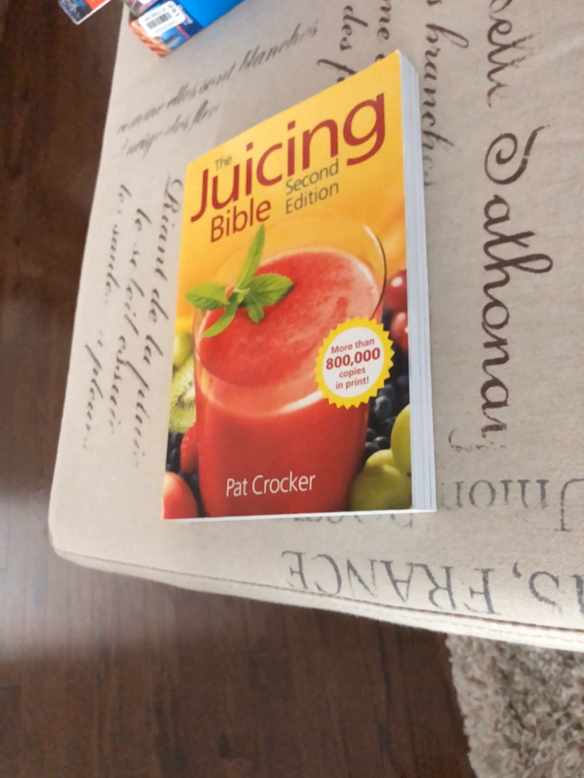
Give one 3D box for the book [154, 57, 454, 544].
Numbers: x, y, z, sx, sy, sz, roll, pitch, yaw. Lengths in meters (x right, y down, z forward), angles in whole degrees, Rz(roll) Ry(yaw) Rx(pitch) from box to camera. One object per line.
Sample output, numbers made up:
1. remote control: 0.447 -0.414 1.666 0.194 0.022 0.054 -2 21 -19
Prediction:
1. book: -0.003 -0.040 0.383 0.181 0.030 0.250 -12 70 38
